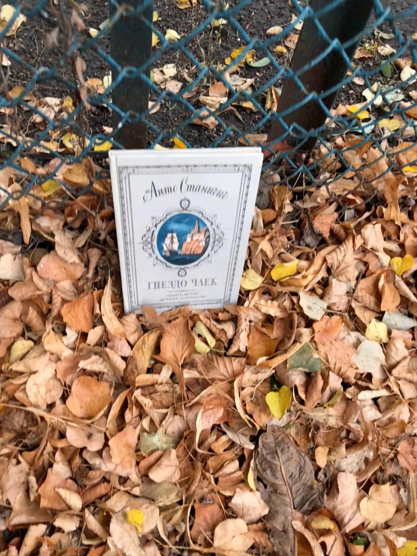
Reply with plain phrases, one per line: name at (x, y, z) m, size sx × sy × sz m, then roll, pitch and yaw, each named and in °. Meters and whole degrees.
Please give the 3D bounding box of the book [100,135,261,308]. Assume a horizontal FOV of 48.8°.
book at (-0.029, -0.043, 0.443) m, size 0.128 × 0.200 × 0.016 m, roll -3°, pitch 49°, yaw -8°
